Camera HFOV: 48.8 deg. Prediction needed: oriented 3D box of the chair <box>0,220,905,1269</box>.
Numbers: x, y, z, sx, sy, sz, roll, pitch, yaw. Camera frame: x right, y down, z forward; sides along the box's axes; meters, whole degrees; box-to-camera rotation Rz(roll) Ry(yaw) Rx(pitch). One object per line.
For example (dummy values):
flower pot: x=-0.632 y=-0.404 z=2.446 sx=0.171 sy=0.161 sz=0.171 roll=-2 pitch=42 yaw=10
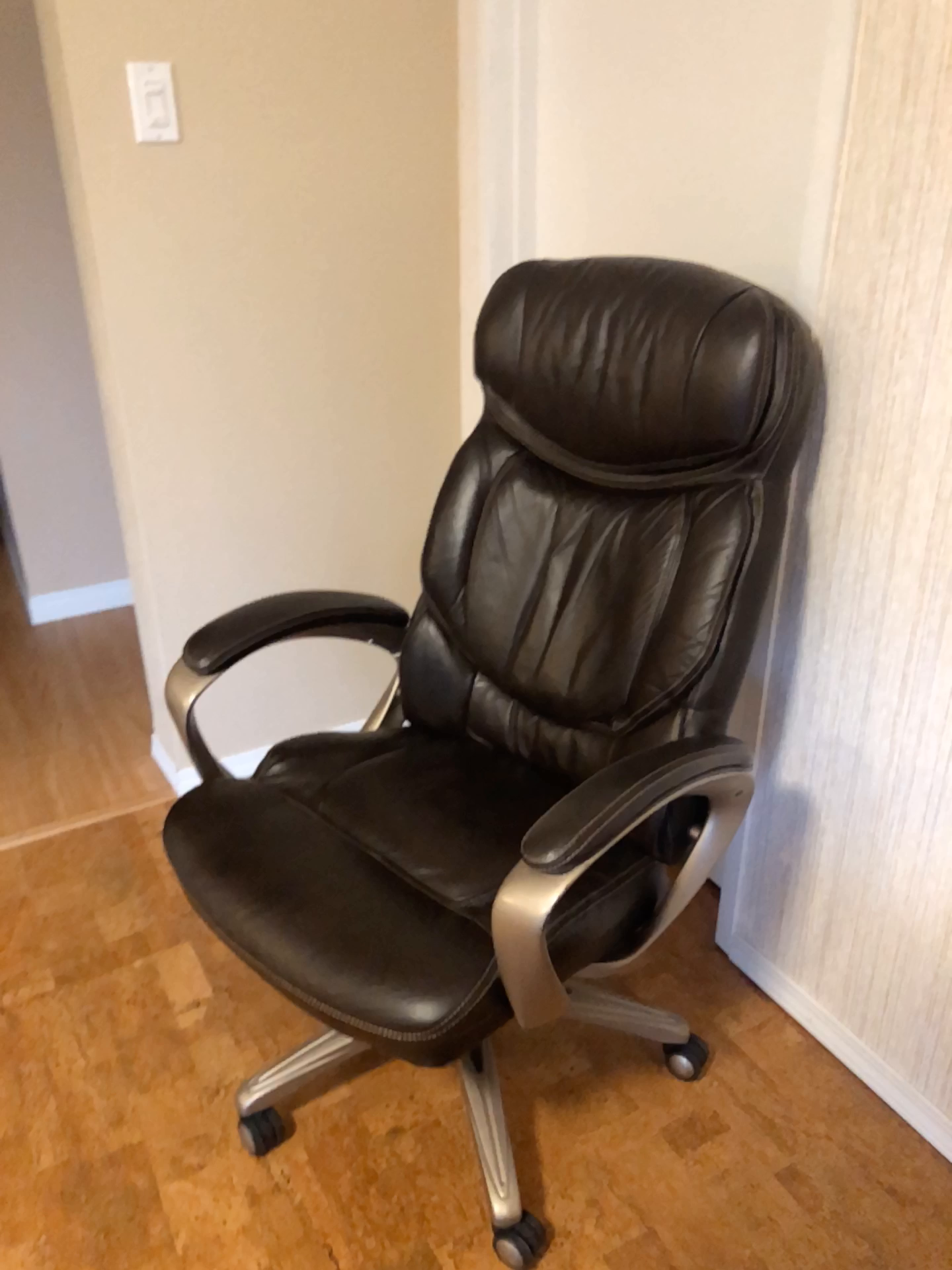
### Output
chair: x=-0.027 y=0.106 z=1.302 sx=0.692 sy=1.086 sz=0.651 roll=20 pitch=32 yaw=36
